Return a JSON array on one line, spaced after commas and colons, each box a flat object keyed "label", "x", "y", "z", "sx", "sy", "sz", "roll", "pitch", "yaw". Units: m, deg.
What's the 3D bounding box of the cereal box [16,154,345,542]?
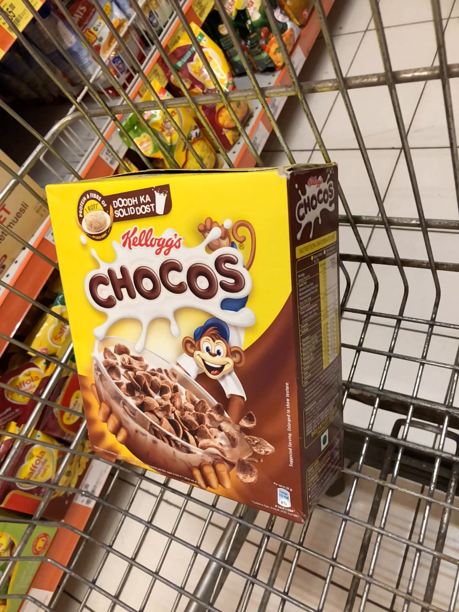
[{"label": "cereal box", "x": -0.031, "y": 0.014, "z": 0.328, "sx": 0.191, "sy": 0.070, "sz": 0.200, "roll": 6, "pitch": 108, "yaw": 33}]
